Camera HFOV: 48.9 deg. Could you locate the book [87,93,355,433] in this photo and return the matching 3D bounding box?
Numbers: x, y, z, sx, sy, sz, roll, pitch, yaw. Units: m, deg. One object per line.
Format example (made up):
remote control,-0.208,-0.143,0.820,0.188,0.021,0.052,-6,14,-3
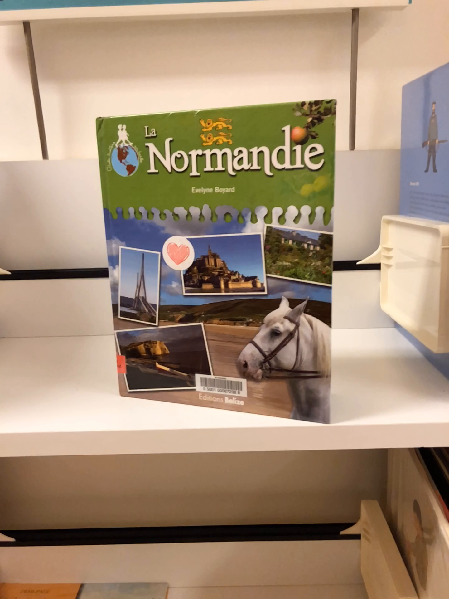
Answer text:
book,-0.001,-0.033,0.434,0.207,0.249,0.077,4,15,24
